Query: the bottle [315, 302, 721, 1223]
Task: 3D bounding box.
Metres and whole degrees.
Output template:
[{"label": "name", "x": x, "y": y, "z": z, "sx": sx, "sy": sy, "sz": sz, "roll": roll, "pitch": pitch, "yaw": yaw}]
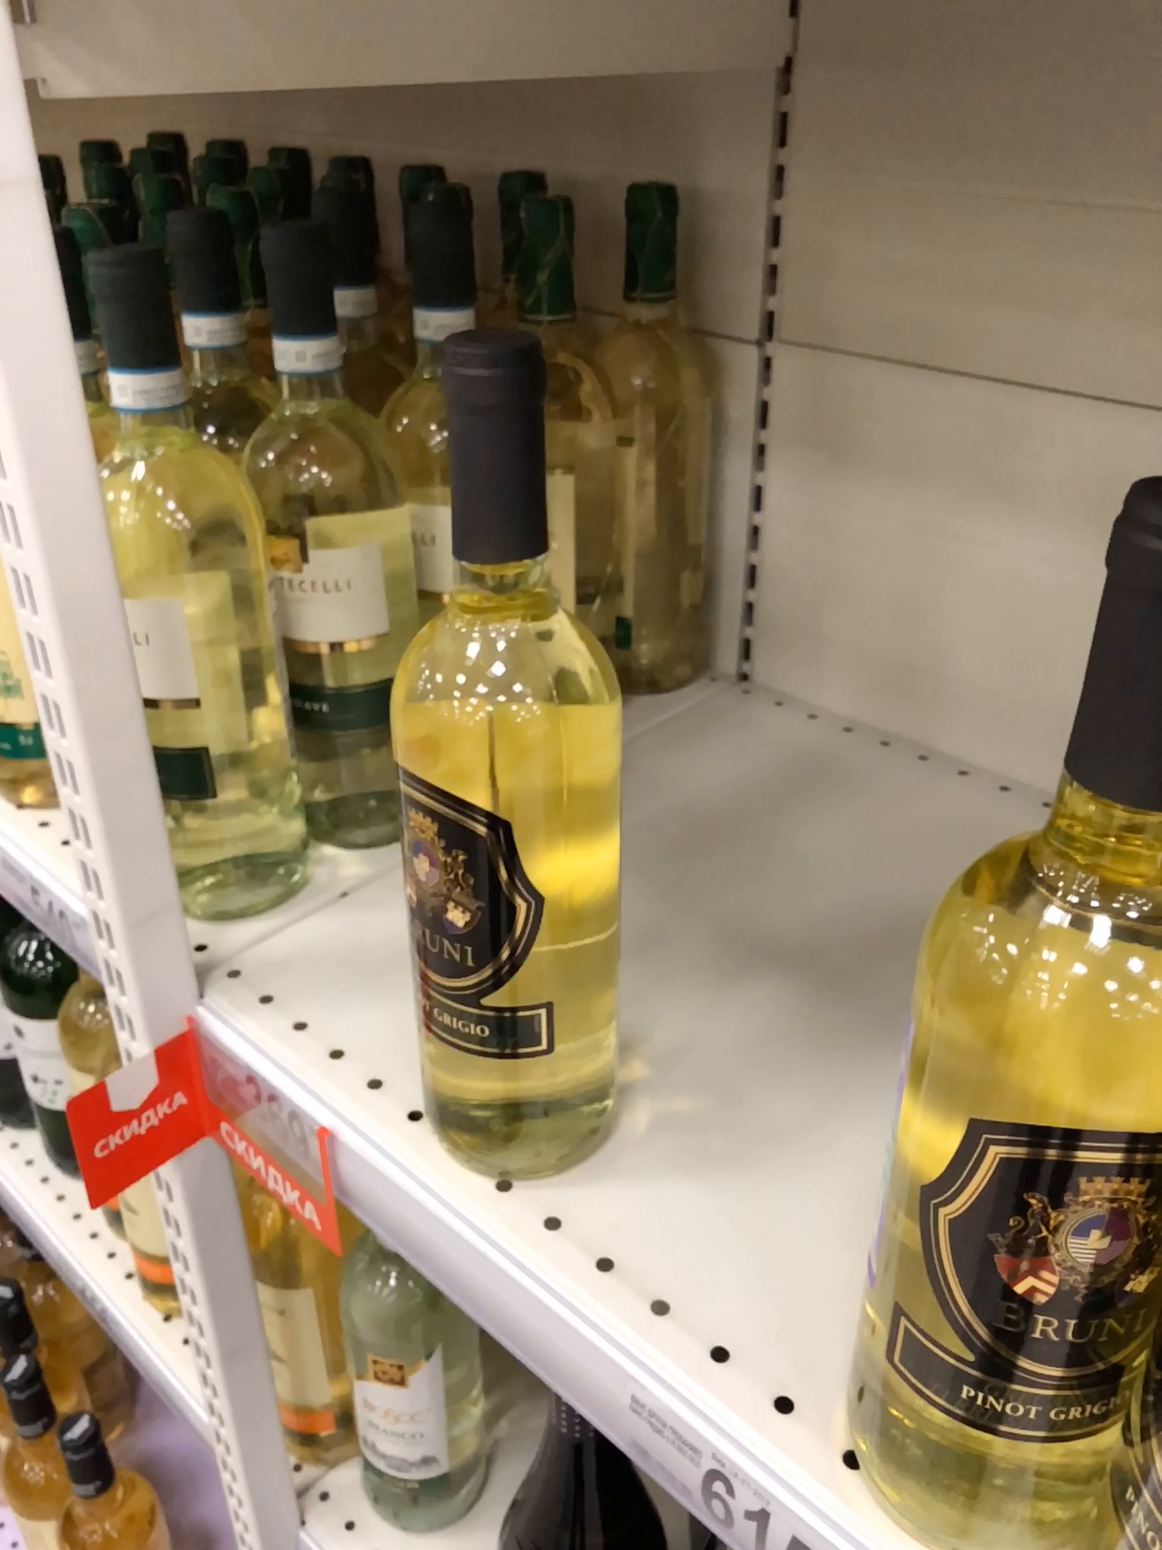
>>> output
[{"label": "bottle", "x": -0.017, "y": 0.004, "z": 0.430, "sx": 0.080, "sy": 0.288, "sz": 0.080, "roll": 0, "pitch": 30, "yaw": 0}]
